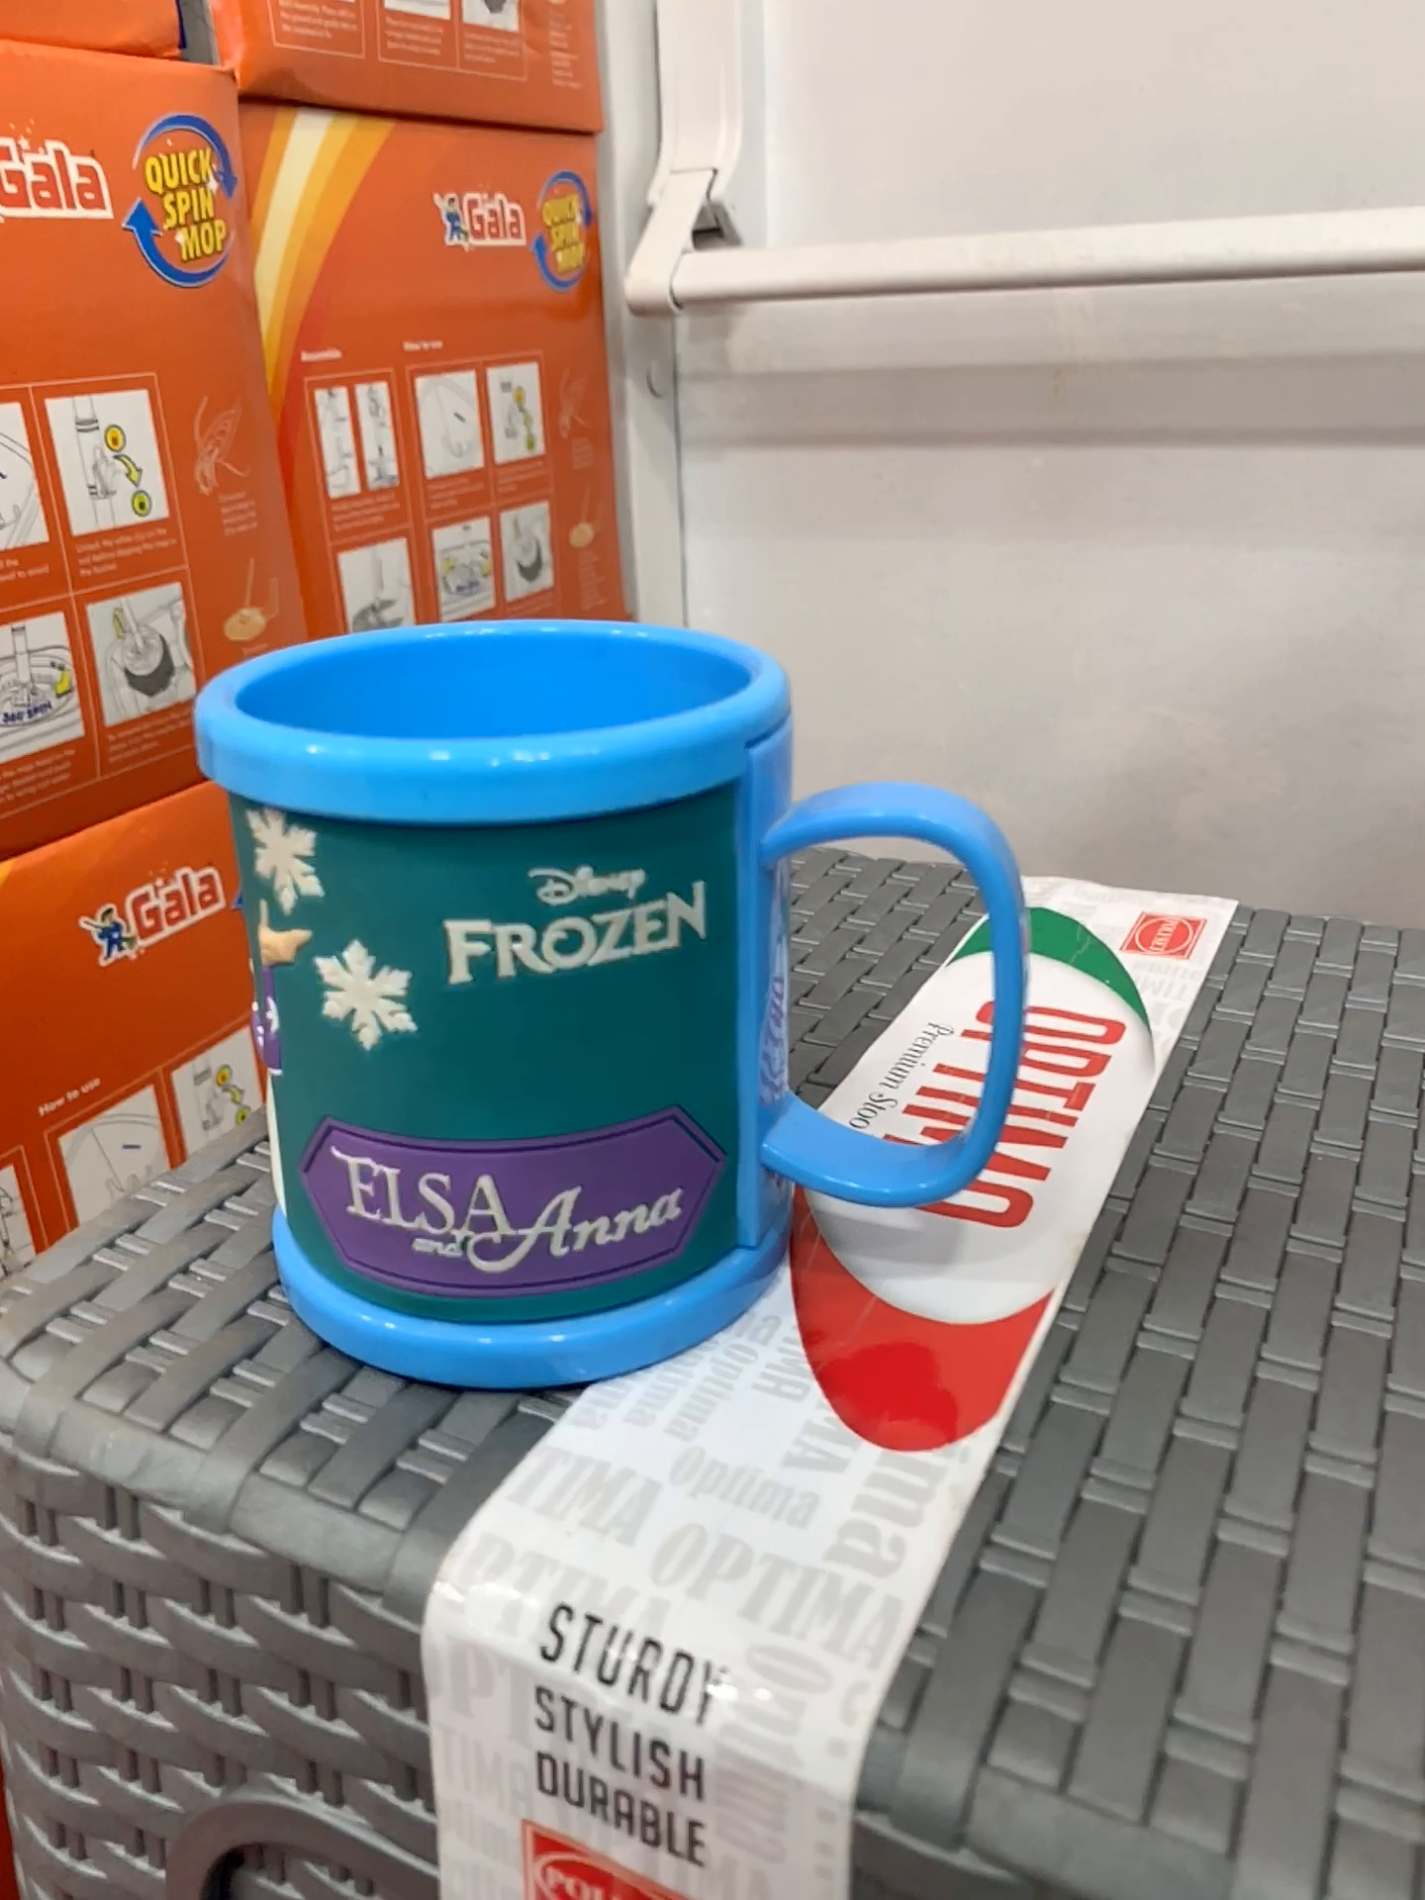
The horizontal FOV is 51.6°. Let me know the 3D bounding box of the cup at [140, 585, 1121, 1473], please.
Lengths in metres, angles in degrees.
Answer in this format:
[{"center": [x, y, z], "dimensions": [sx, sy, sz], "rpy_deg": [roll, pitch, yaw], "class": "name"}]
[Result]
[{"center": [-0.005, 0.005, 0.212], "dimensions": [0.106, 0.099, 0.078], "rpy_deg": [1, 23, 7], "class": "cup"}]
